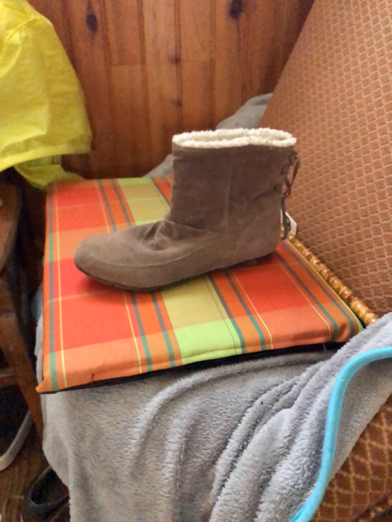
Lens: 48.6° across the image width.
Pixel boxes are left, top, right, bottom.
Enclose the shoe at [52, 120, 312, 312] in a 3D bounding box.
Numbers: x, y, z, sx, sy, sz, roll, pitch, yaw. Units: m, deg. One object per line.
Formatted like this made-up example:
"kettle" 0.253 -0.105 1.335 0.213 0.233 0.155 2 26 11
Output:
"shoe" -0.016 -0.060 0.503 0.261 0.159 0.100 -10 31 -16
